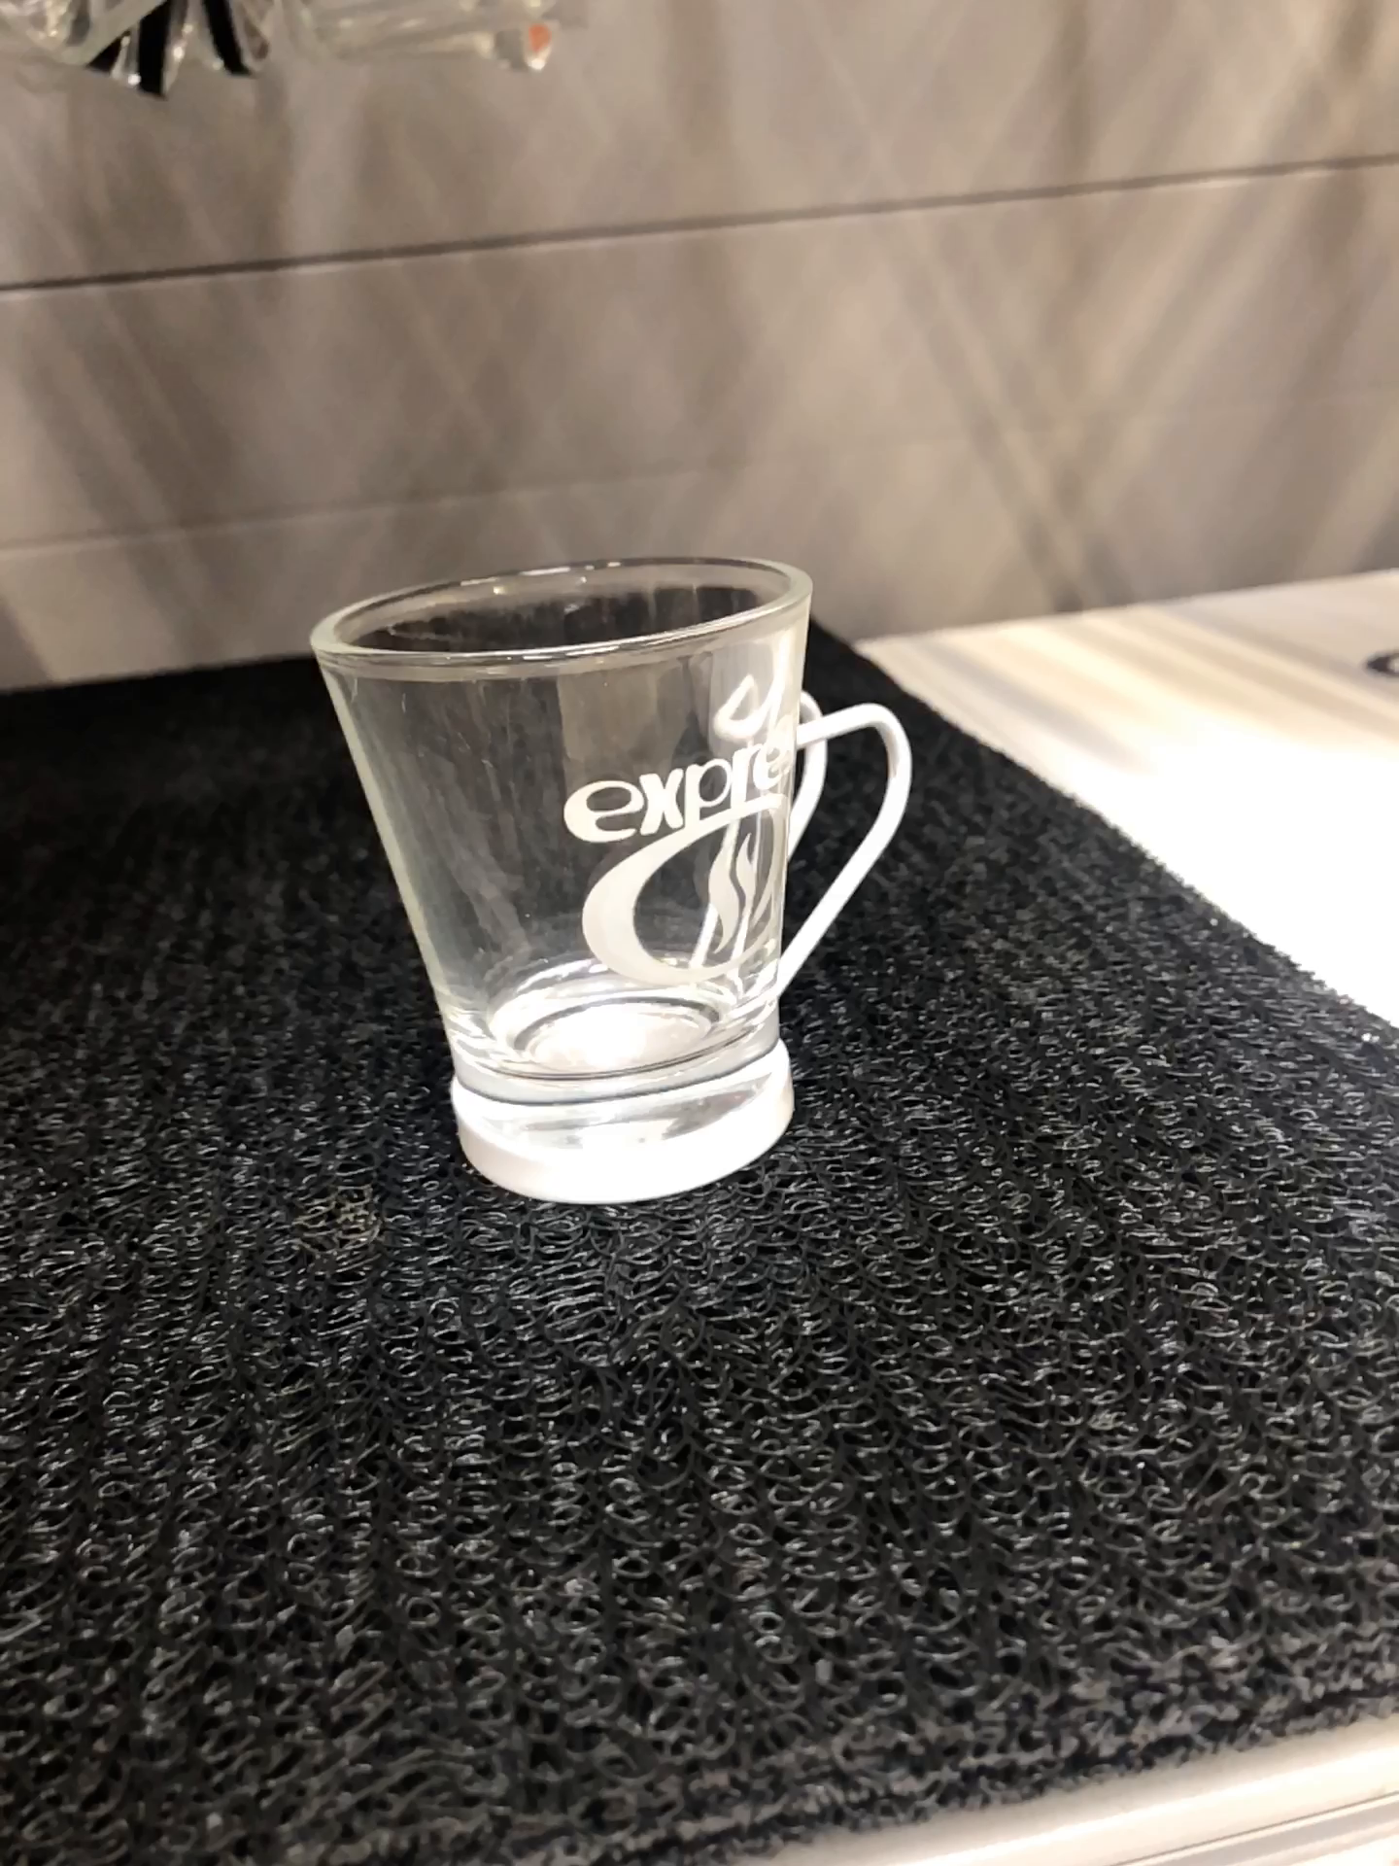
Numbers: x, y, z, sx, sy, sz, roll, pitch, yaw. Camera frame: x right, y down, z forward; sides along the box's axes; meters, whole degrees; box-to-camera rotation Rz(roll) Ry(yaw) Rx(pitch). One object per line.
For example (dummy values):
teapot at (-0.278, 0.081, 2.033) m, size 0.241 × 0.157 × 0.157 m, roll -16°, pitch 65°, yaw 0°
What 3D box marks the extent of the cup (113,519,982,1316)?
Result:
cup at (-0.012, -0.011, 0.203) m, size 0.059 × 0.063 × 0.093 m, roll 14°, pitch 29°, yaw 33°
